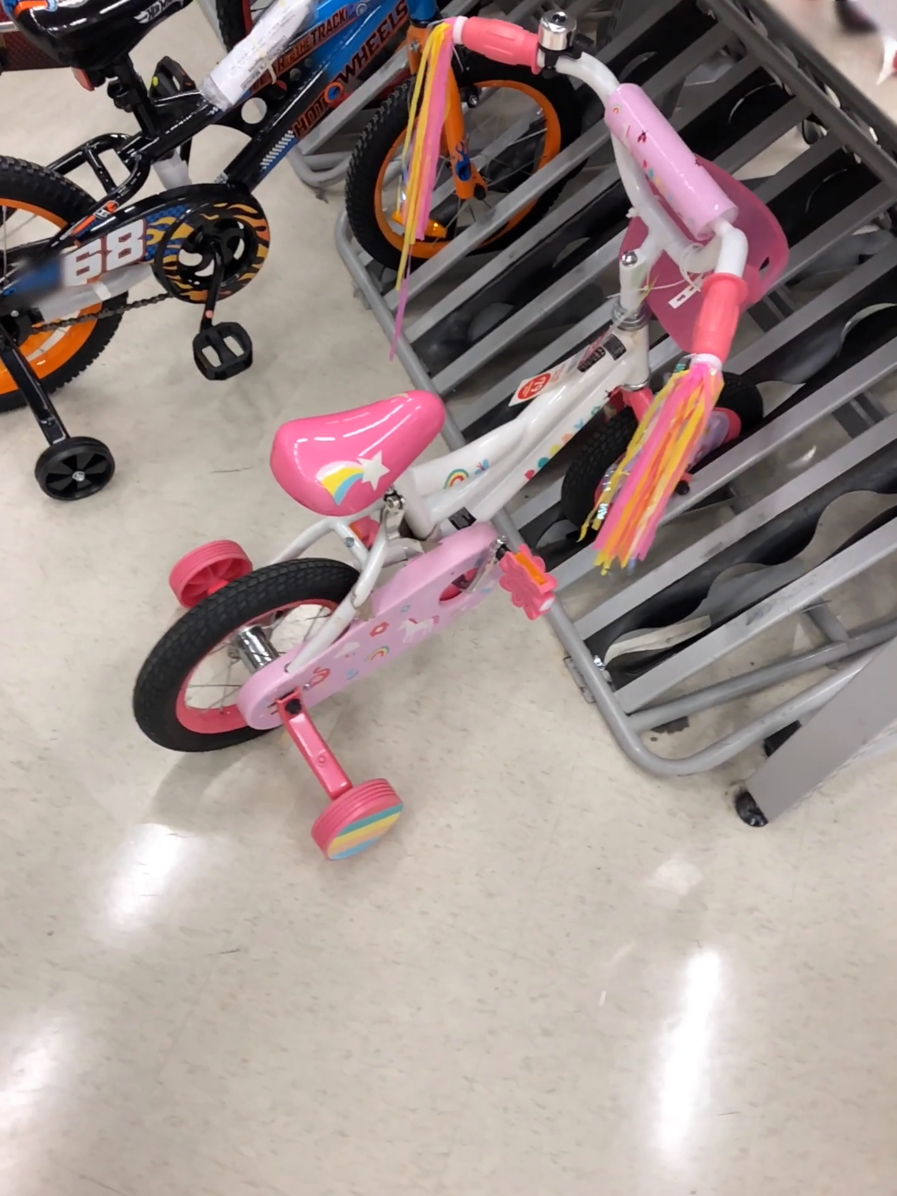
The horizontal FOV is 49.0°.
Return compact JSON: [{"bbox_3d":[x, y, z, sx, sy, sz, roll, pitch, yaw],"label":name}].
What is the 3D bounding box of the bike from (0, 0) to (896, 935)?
[{"bbox_3d":[0.081,-0.195,1.062,0.944,0.592,0.517,-26,65,-24],"label":"bike"}]
